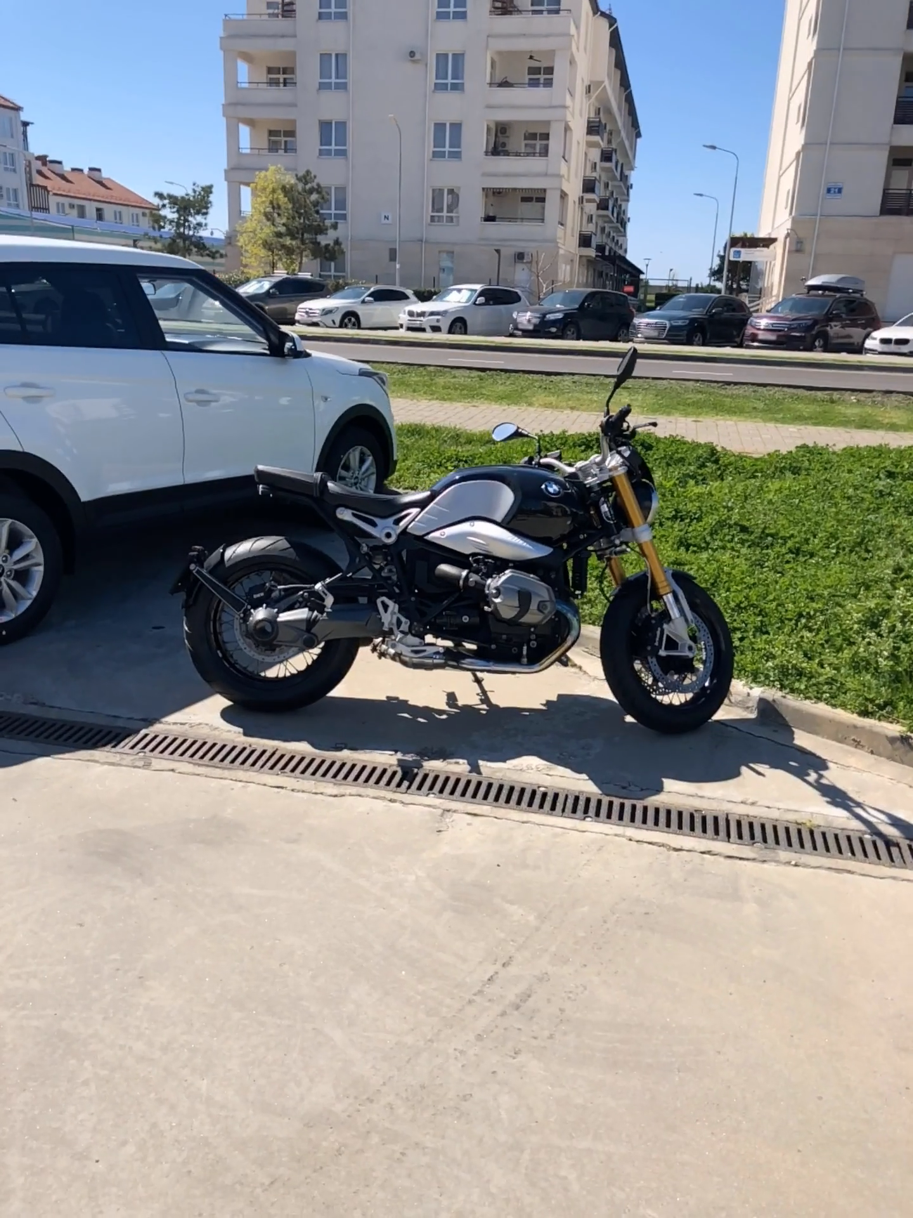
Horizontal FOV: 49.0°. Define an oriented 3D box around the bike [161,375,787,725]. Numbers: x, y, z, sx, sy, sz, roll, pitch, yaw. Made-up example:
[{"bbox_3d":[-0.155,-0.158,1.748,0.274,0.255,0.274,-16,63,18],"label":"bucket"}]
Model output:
[{"bbox_3d":[0.047,-0.240,3.429,1.832,1.013,0.779,0,16,-4],"label":"bike"}]
